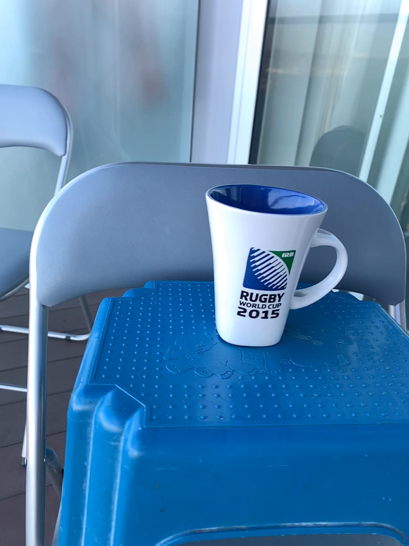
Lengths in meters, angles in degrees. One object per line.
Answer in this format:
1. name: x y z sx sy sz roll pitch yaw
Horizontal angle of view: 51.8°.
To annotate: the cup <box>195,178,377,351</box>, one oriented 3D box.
1. cup: 0.052 -0.008 0.328 0.107 0.105 0.083 1 26 -7
